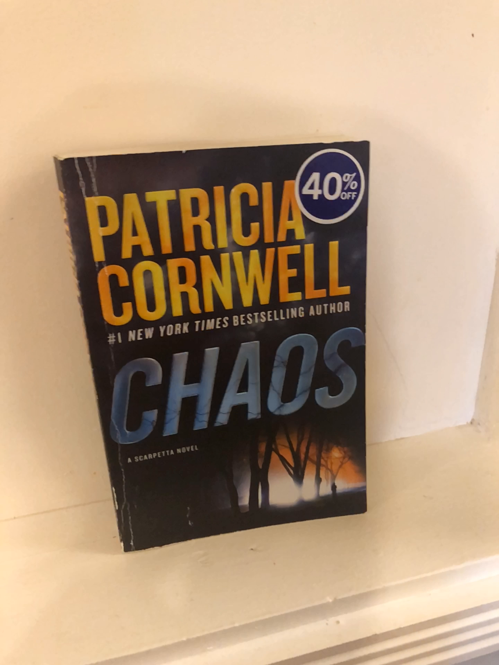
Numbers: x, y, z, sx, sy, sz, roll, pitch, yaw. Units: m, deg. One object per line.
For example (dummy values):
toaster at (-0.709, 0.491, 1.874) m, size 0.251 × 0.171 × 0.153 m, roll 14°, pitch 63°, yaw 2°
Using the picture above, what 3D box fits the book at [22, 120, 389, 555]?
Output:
book at (-0.014, 0.004, 0.311) m, size 0.170 × 0.219 × 0.050 m, roll -6°, pitch 18°, yaw -8°
